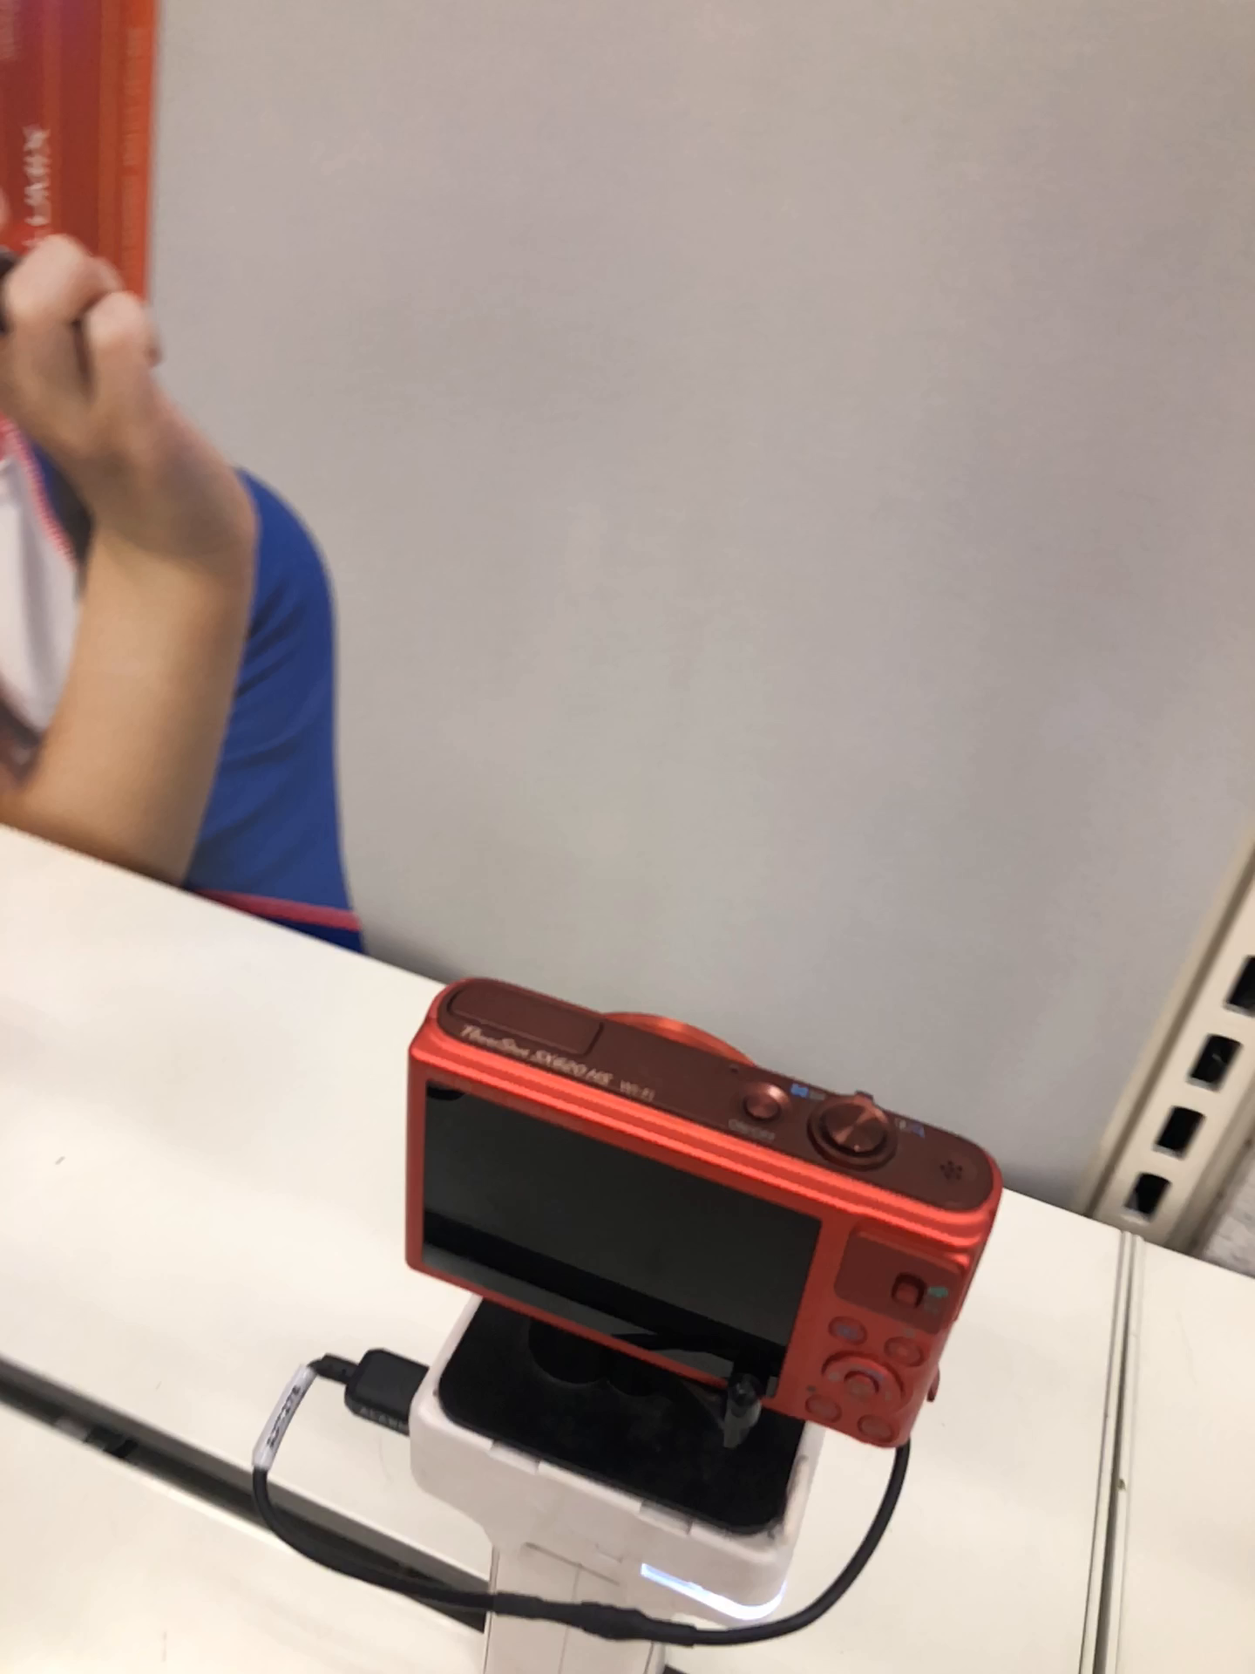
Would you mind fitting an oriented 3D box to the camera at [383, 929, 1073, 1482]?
[{"bbox_3d":[0.014,0.064,0.246,0.110,0.060,0.030,17,36,12],"label":"camera"}]
